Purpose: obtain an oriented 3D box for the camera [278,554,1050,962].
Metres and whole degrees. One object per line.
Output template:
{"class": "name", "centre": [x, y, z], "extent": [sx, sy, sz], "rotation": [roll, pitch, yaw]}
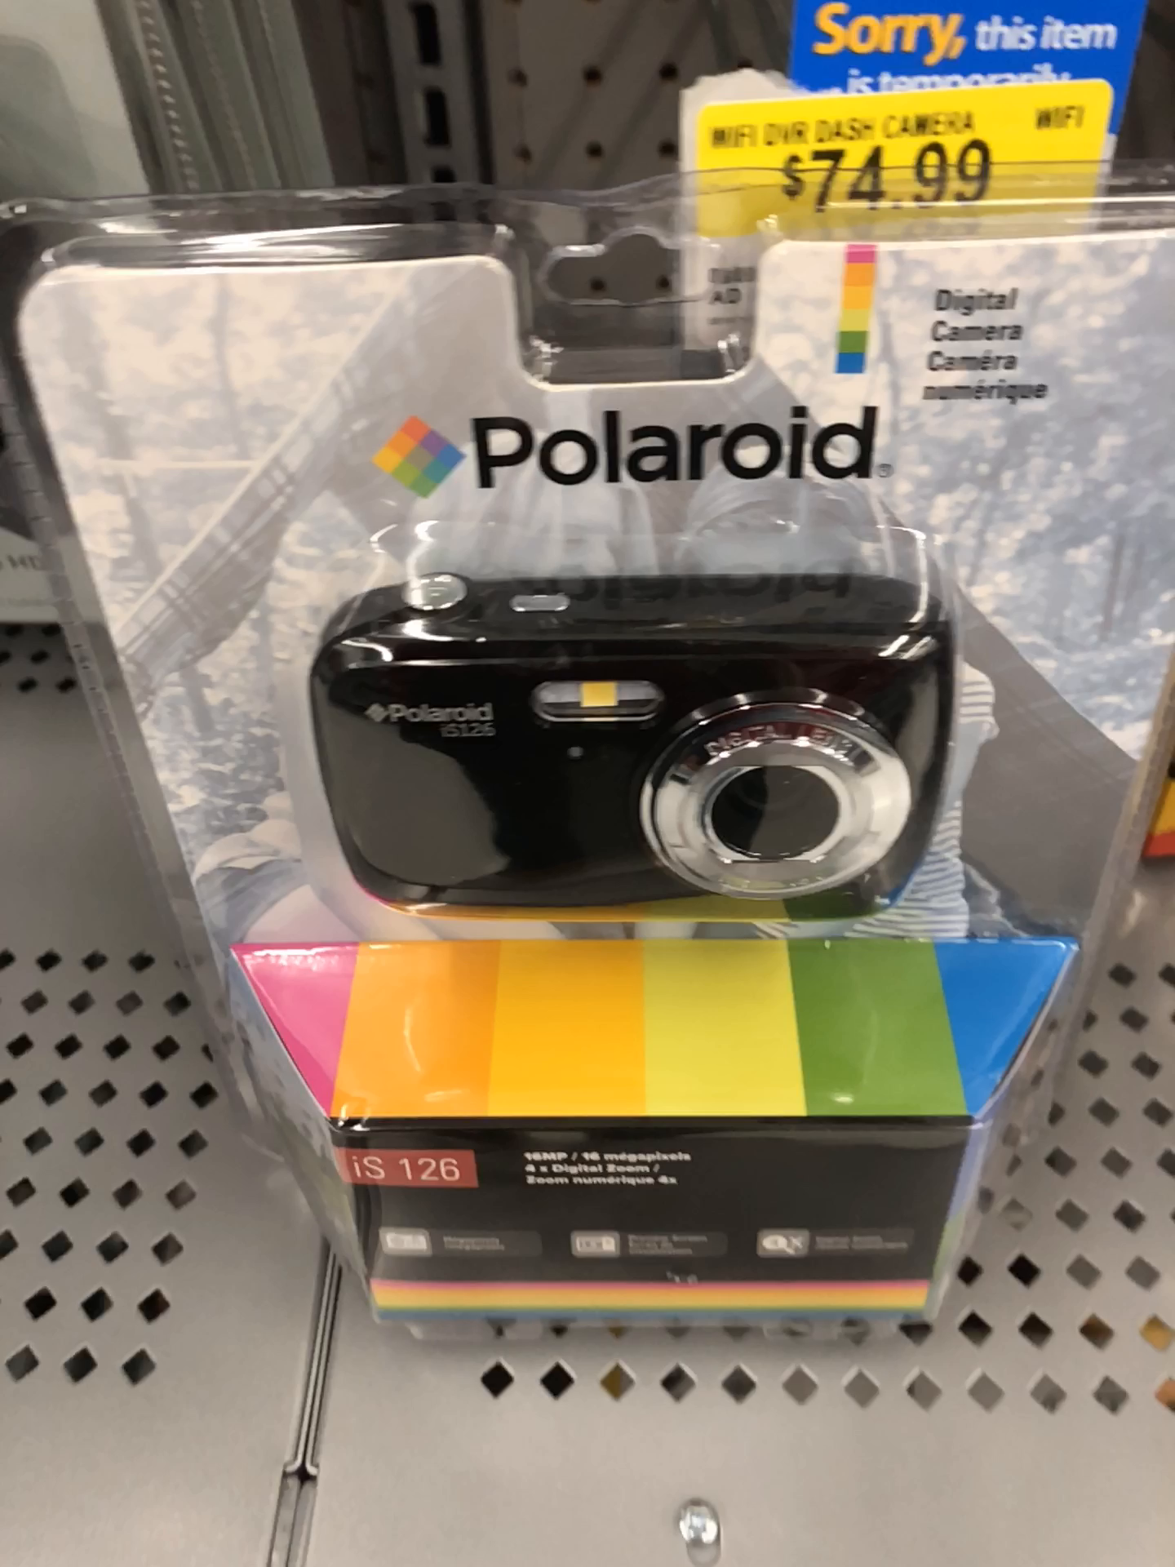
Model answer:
{"class": "camera", "centre": [0.011, -0.002, 0.203], "extent": [0.100, 0.060, 0.030], "rotation": [-1, 50, 2]}
